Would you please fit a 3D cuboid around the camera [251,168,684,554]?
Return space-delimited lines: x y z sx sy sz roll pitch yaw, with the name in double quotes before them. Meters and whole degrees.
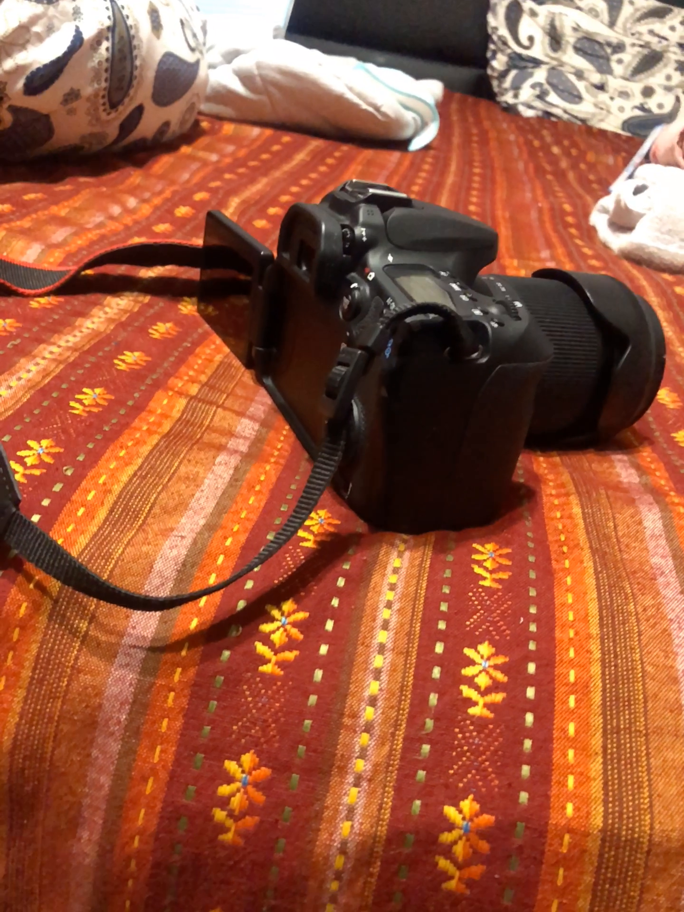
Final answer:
"camera" 0.068 -0.052 0.330 0.170 0.099 0.131 -7 36 -27
